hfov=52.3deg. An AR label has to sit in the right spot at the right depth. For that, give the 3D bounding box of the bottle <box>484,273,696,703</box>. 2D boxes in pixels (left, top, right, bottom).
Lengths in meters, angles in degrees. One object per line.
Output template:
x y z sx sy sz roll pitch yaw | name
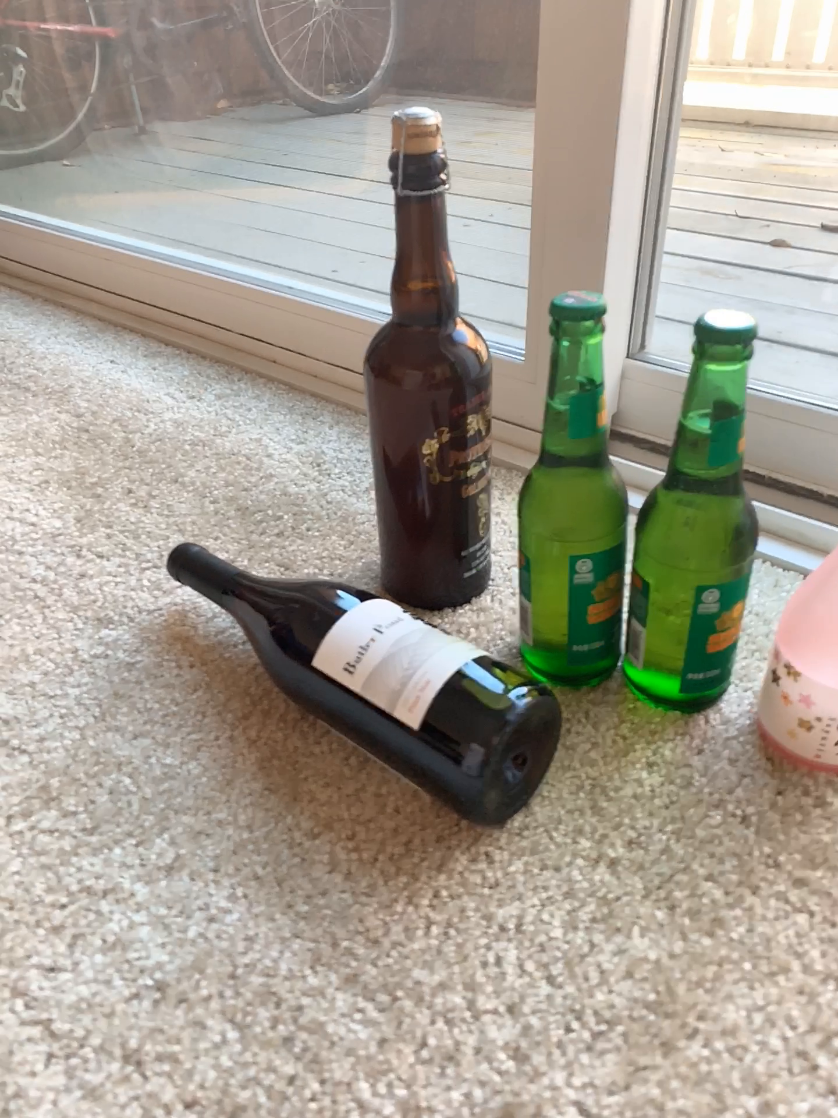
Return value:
0.085 -0.033 0.457 0.070 0.209 0.070 -1 35 1 | bottle

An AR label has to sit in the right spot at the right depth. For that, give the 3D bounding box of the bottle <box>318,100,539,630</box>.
0.009 -0.105 0.511 0.080 0.288 0.080 -1 35 1 | bottle

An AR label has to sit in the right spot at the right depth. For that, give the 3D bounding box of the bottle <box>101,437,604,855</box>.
-0.049 0.032 0.463 0.281 0.079 0.070 28 44 26 | bottle

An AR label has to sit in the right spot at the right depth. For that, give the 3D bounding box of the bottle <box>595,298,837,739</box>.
0.154 -0.016 0.462 0.070 0.219 0.070 -1 35 1 | bottle

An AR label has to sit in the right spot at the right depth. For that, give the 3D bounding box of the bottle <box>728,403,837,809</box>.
0.217 0.026 0.425 0.070 0.179 0.070 -1 35 1 | bottle
